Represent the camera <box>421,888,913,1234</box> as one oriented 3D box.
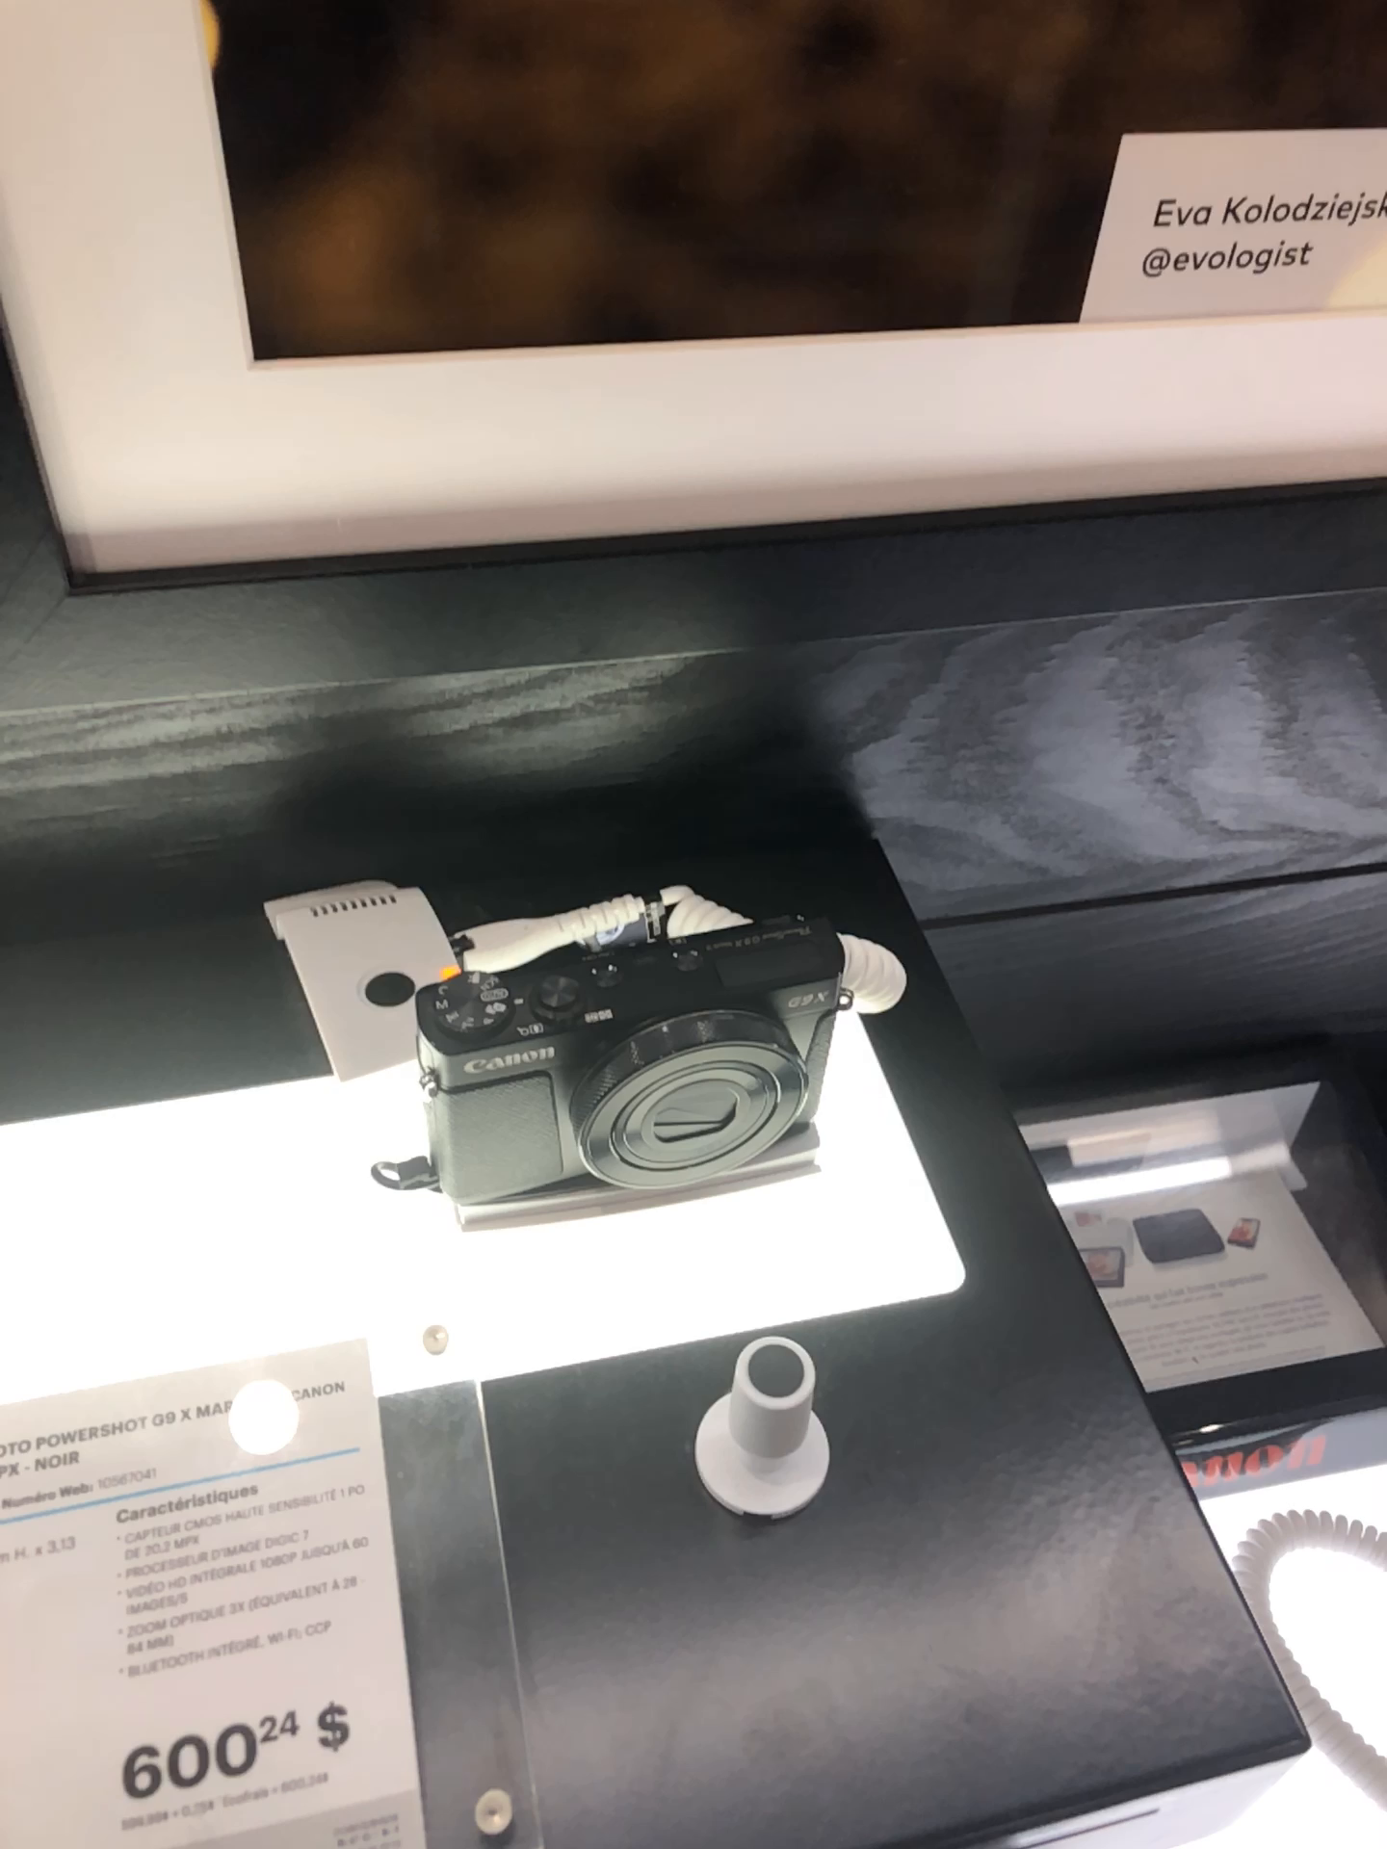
[{"bbox_3d":[-0.007,0.030,0.340,0.100,0.058,0.025,-10,45,-15],"label":"camera"}]
